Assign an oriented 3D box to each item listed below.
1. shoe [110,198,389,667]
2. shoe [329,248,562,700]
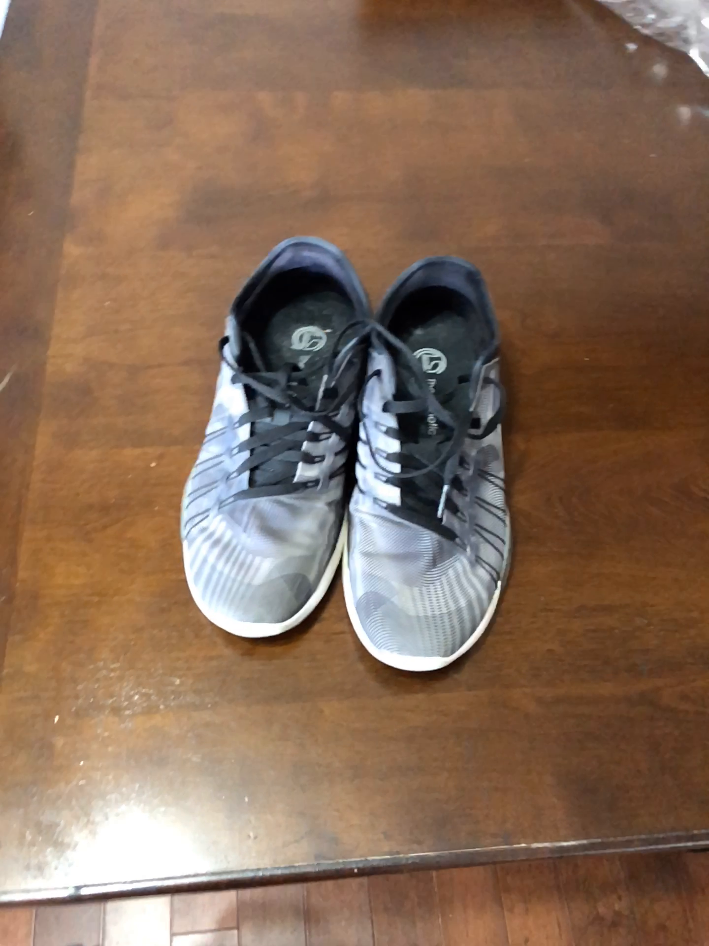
[{"bbox_3d":[-0.043,-0.027,0.422,0.100,0.090,0.230,6,61,1],"label":"shoe"},{"bbox_3d":[0.048,-0.006,0.431,0.100,0.080,0.230,5,61,0],"label":"shoe"}]
